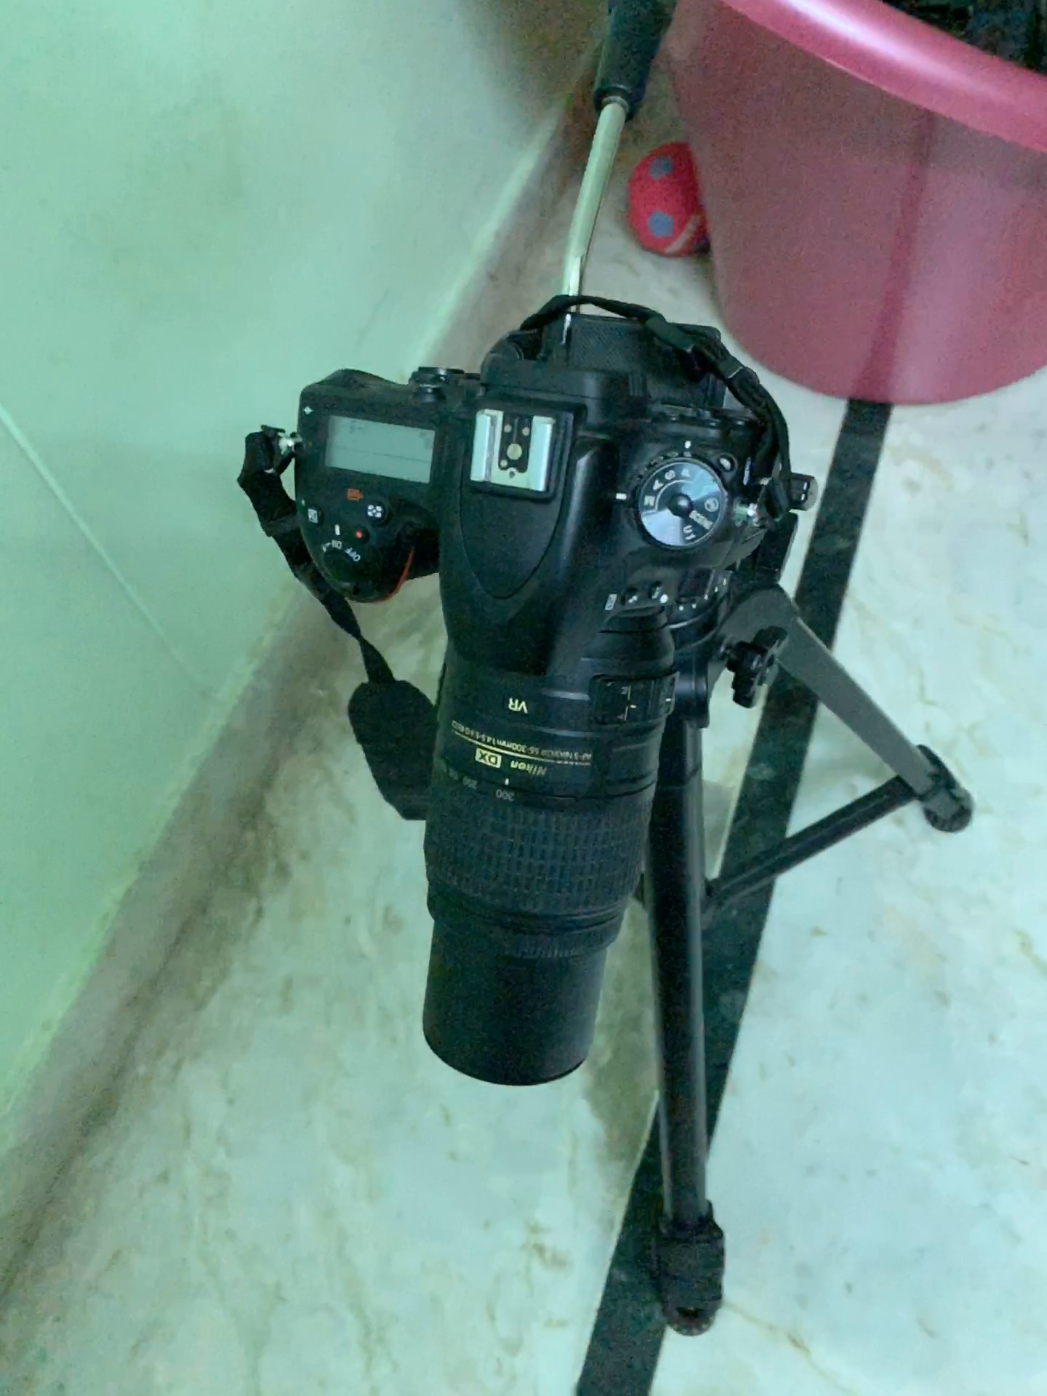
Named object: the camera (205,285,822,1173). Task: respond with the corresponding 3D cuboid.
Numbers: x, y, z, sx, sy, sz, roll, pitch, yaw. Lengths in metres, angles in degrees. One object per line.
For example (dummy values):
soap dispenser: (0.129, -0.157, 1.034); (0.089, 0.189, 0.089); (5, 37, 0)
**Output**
camera: (-0.002, 0.000, 0.335); (0.130, 0.214, 0.116); (14, 17, 18)
